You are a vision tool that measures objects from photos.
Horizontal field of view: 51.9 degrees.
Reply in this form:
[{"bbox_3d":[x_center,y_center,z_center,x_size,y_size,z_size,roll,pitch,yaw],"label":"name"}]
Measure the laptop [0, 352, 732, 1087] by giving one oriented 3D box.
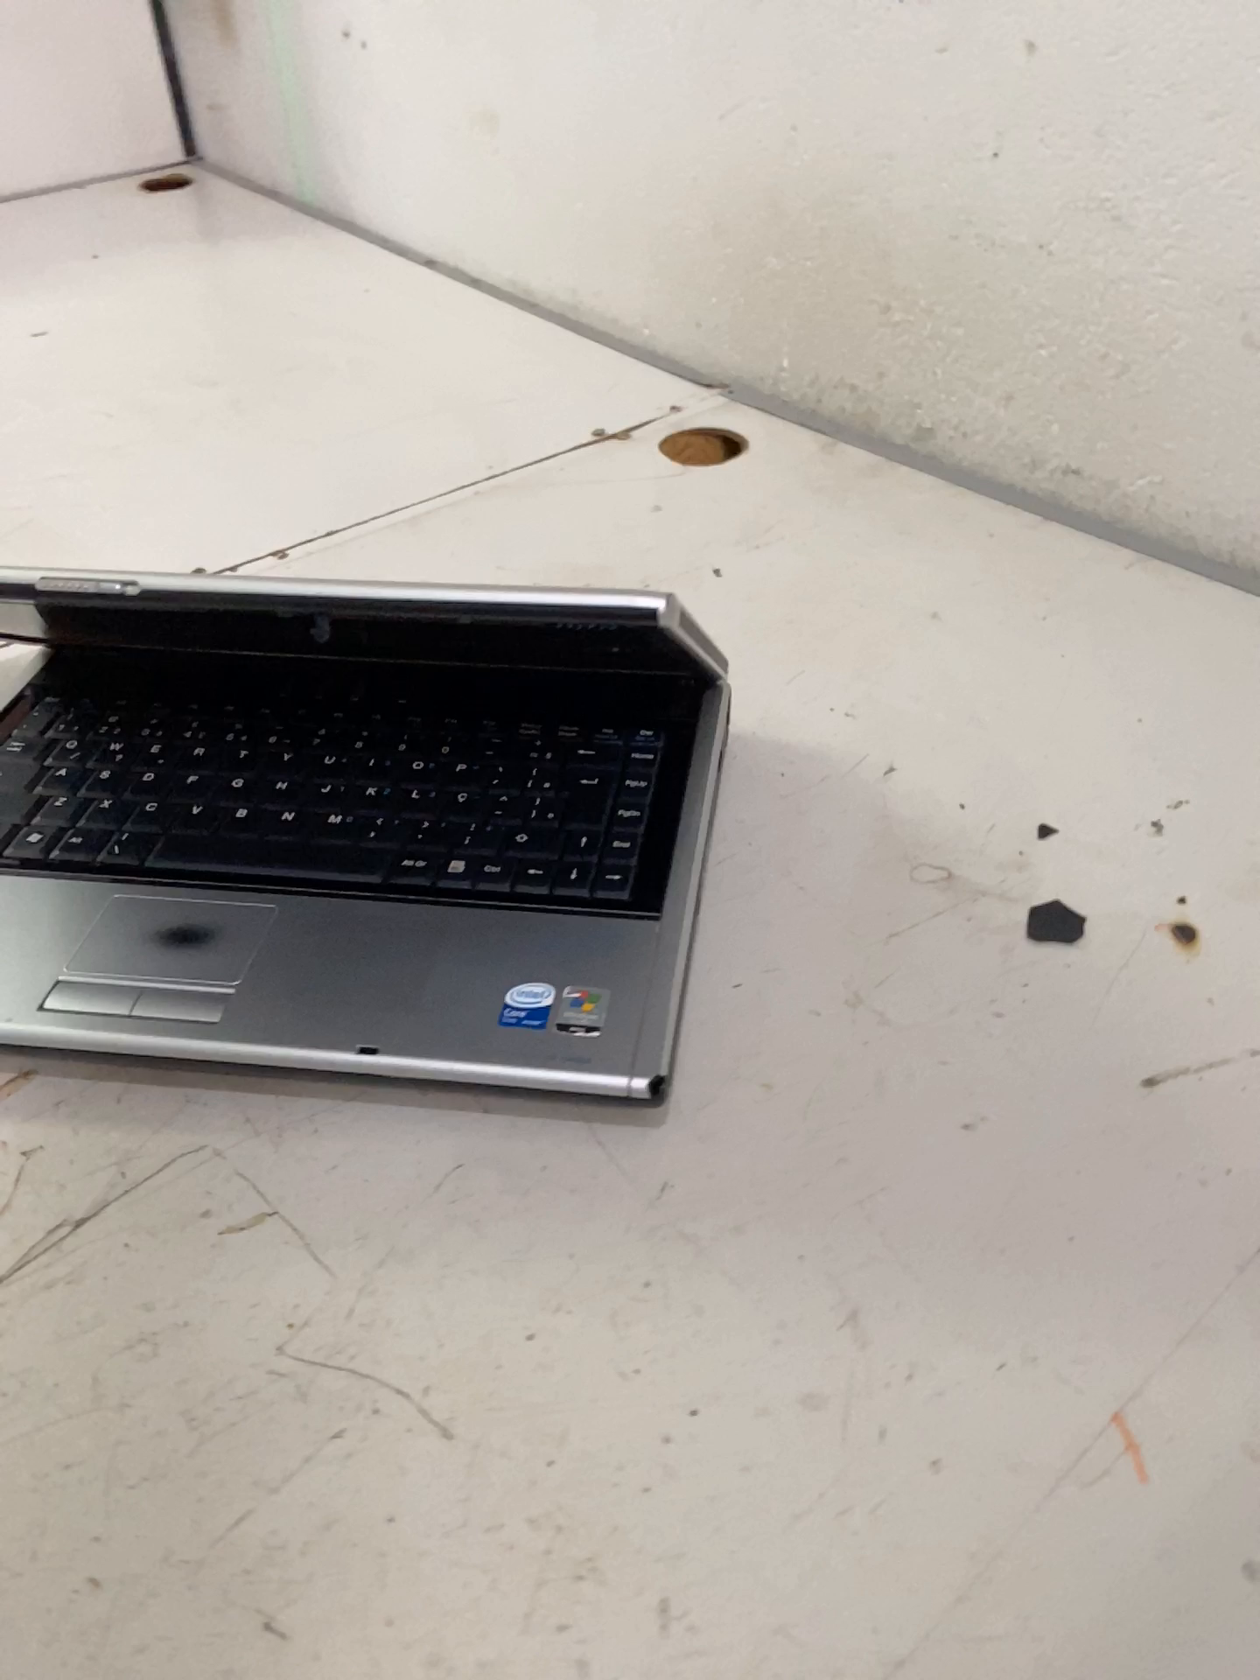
[{"bbox_3d":[-0.134,-0.061,0.457,0.319,0.144,0.228,3,40,9],"label":"laptop"}]
